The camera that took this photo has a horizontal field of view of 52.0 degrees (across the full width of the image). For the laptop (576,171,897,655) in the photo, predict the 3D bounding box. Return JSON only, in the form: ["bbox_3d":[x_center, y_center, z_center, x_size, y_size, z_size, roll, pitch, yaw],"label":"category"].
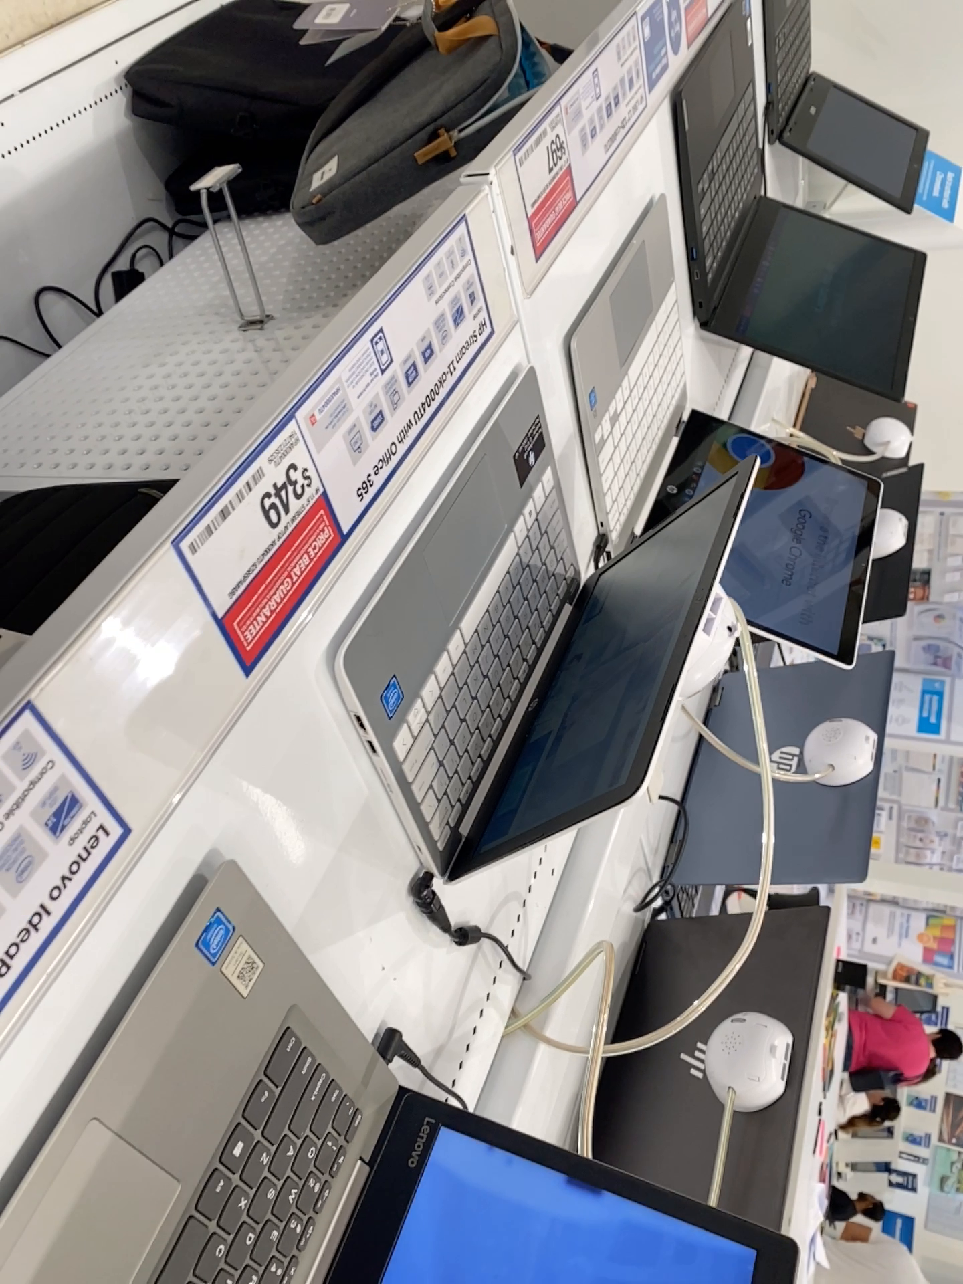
[{"bbox_3d":[0.234,-0.190,0.846,0.298,0.189,0.258,72,33,-41],"label":"laptop"}]

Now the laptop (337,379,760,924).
[{"bbox_3d":[0.066,-0.009,0.600,0.277,0.139,0.181,-62,146,-40],"label":"laptop"}]

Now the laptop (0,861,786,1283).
[{"bbox_3d":[-0.032,0.316,0.357,0.276,0.212,0.327,71,35,-42],"label":"laptop"}]
